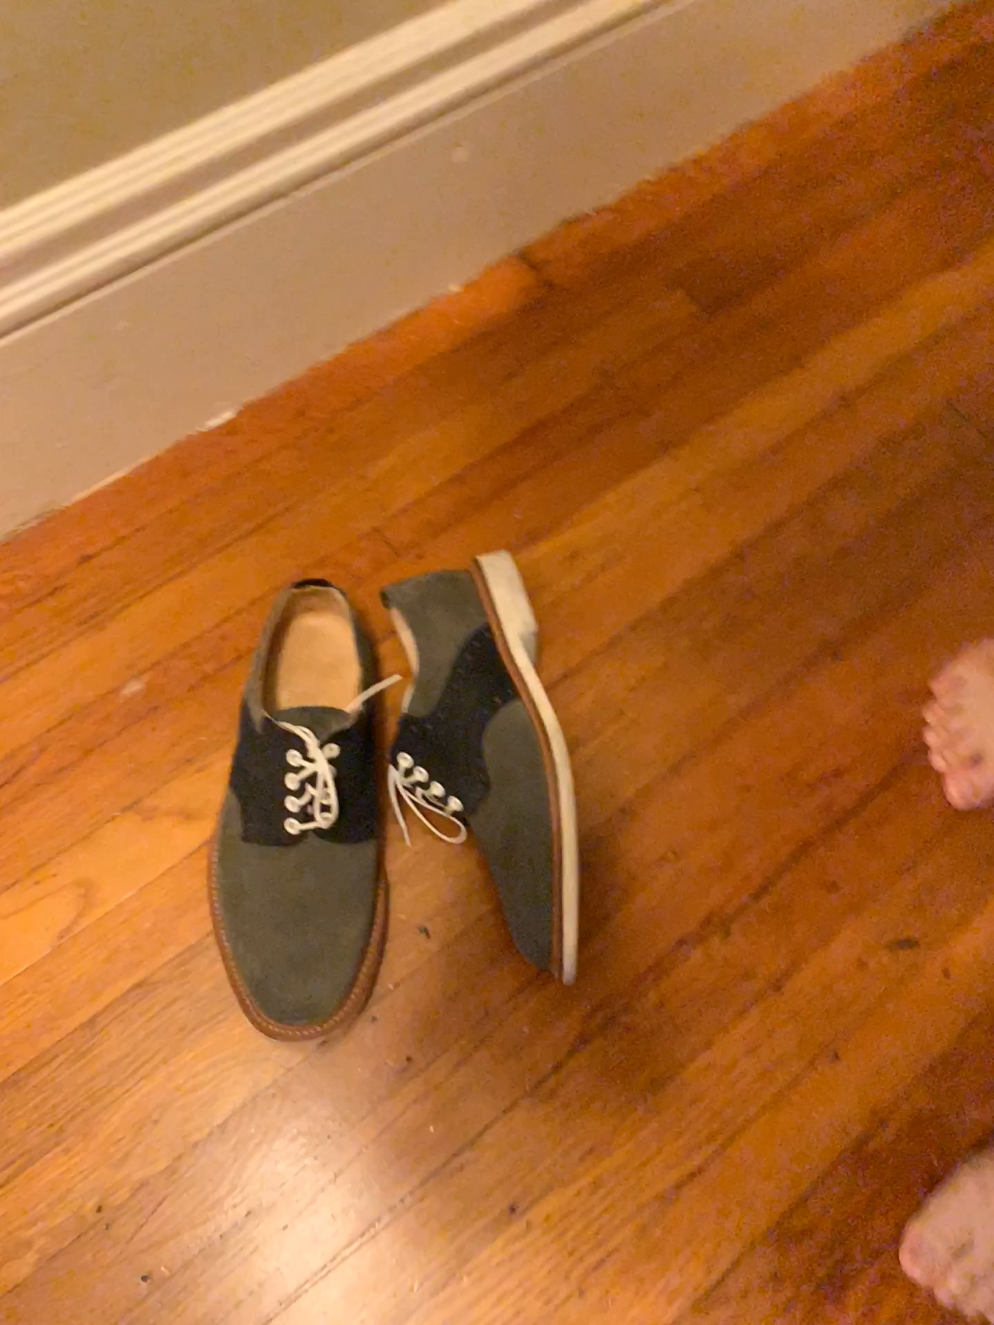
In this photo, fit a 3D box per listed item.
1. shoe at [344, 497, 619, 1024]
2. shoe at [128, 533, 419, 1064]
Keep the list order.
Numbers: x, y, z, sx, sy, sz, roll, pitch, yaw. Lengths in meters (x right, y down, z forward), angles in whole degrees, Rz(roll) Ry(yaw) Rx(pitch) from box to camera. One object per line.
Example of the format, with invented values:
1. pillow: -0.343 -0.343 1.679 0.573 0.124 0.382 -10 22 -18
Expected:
1. shoe: -0.018 0.065 0.675 0.120 0.130 0.310 -8 69 -4
2. shoe: -0.125 0.083 0.641 0.130 0.100 0.310 3 68 -2
